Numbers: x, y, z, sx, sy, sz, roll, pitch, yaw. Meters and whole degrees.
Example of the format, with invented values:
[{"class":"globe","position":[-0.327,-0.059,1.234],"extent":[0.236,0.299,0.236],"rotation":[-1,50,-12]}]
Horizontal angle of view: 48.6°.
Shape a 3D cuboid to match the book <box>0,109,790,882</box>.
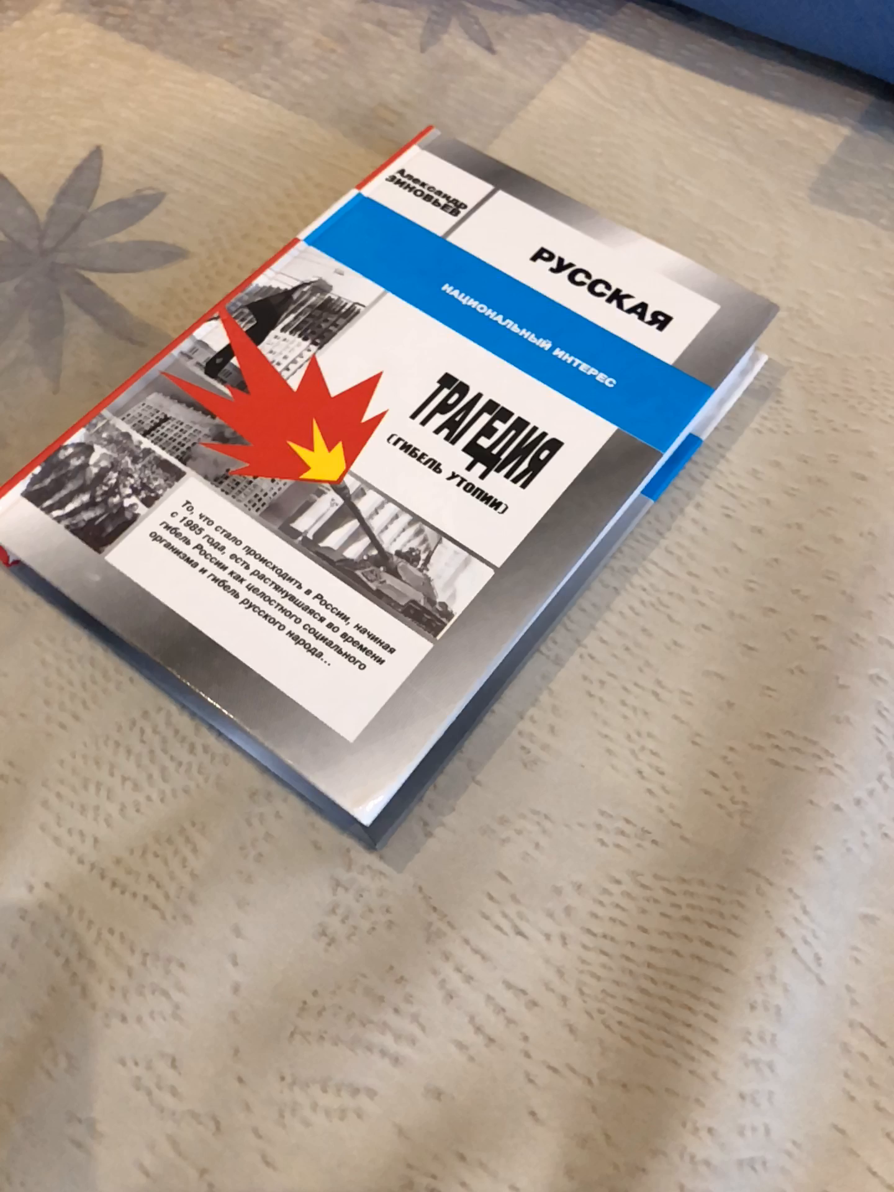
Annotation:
[{"class":"book","position":[-0.022,-0.048,0.299],"extent":[0.160,0.040,0.201],"rotation":[34,66,18]}]
